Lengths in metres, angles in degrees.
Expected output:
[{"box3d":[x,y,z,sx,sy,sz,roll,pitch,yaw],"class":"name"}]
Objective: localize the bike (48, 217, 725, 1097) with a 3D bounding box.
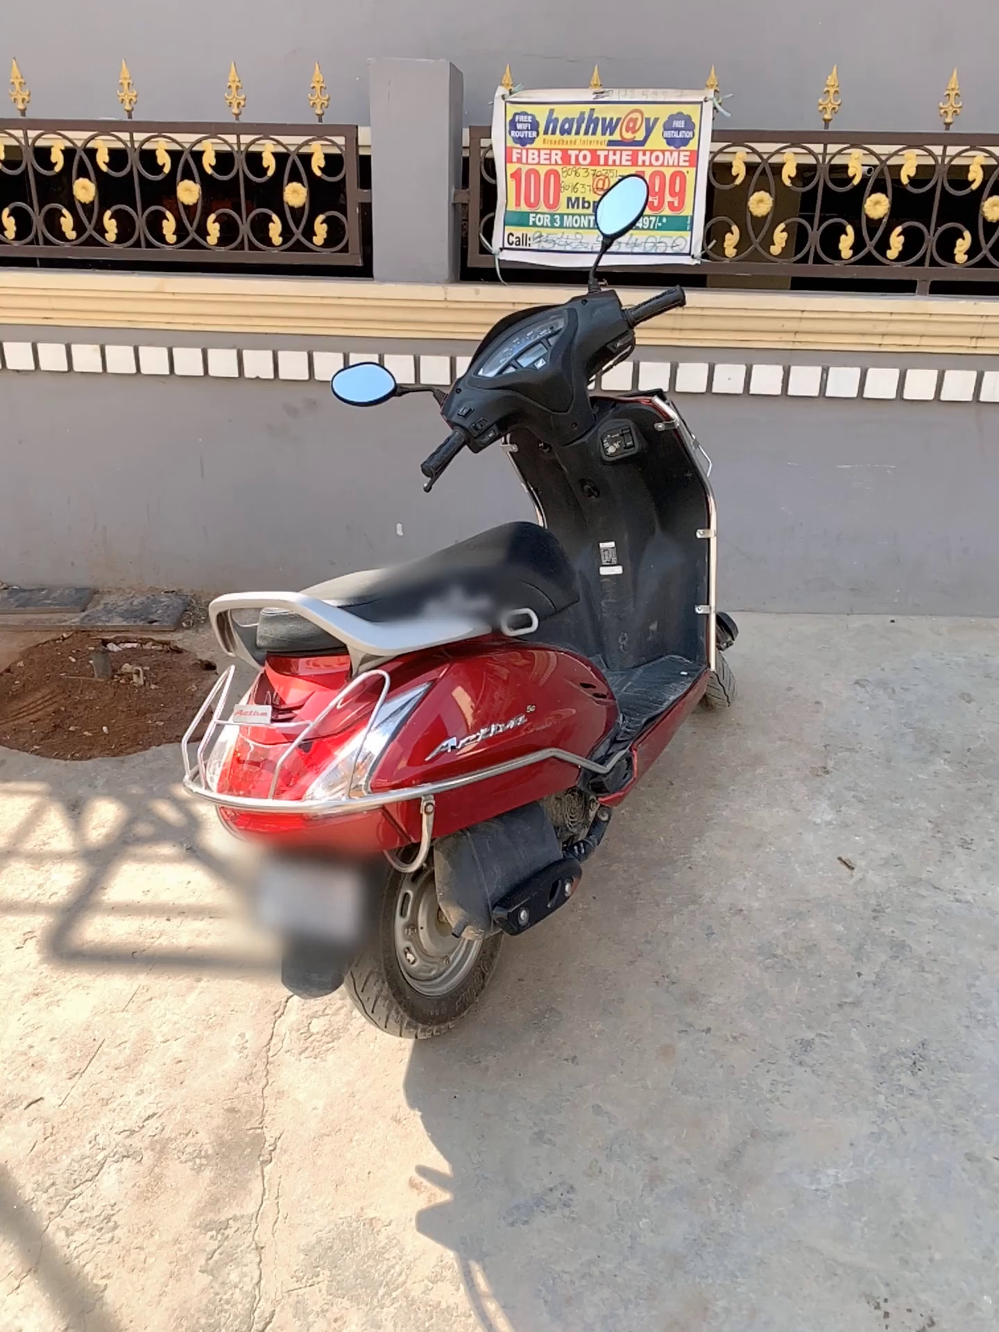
[{"box3d":[-0.047,-0.293,2.261,0.623,1.164,1.761,11,28,21],"class":"bike"}]
